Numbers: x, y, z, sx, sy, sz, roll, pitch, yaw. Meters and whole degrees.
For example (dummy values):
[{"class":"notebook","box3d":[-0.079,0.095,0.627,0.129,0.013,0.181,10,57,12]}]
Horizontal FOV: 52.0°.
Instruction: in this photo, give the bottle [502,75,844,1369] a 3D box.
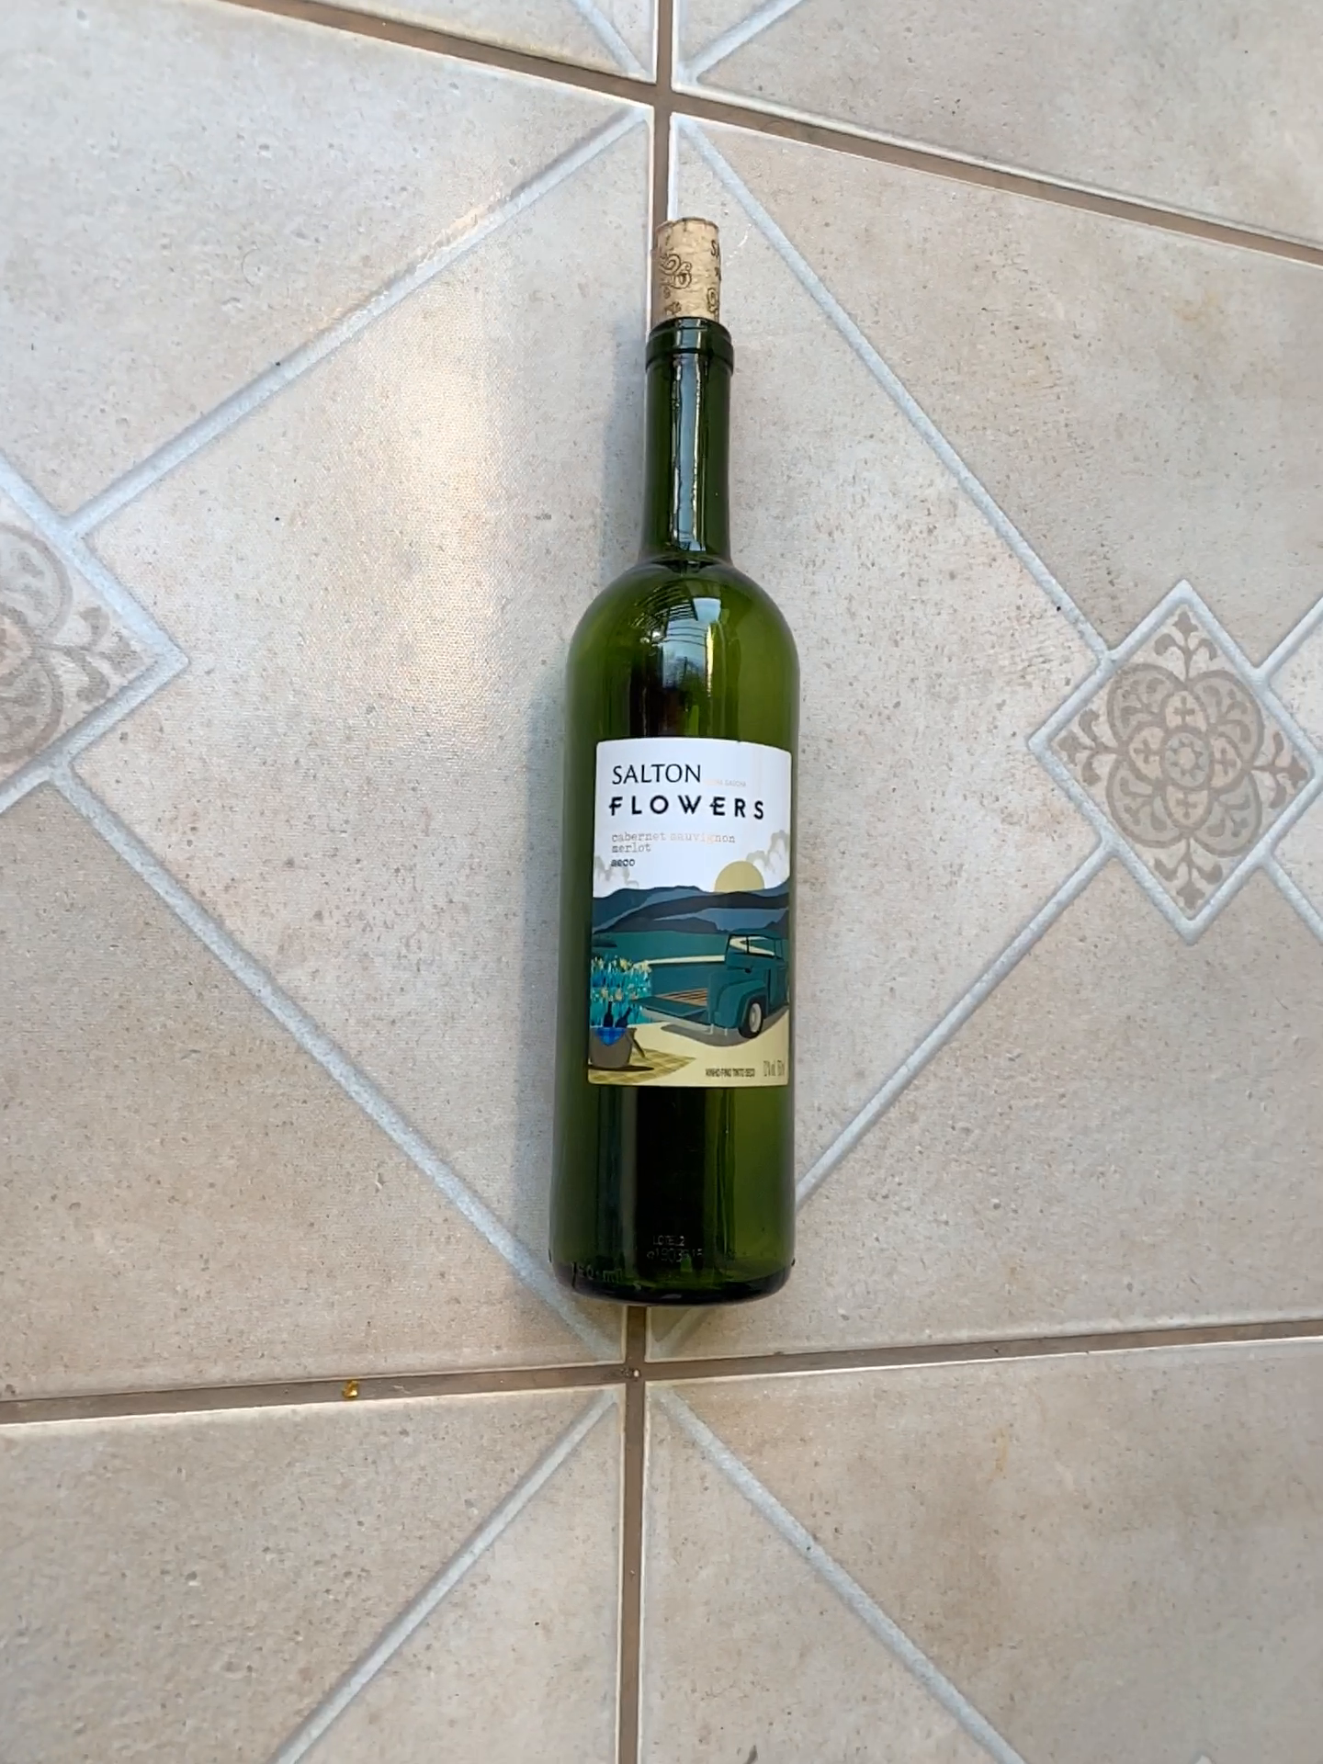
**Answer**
[{"class":"bottle","box3d":[-0.002,-0.046,0.410,0.080,0.080,0.350,-1,87,-11]}]
